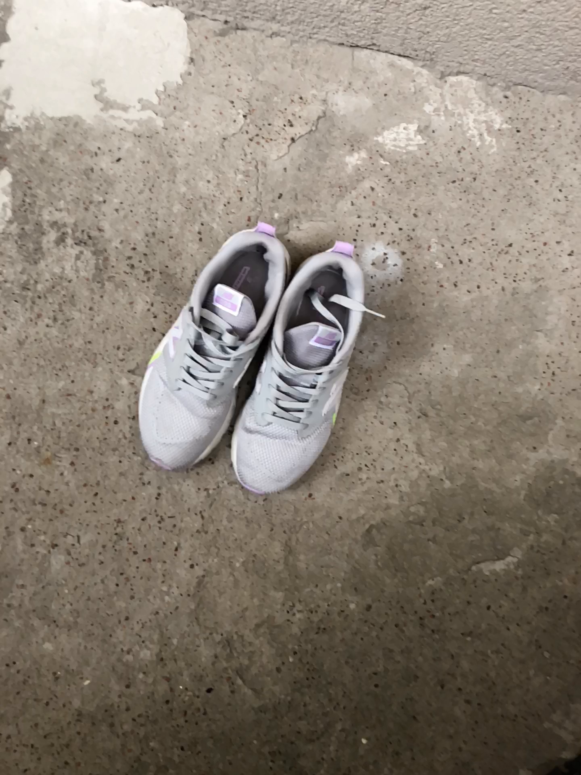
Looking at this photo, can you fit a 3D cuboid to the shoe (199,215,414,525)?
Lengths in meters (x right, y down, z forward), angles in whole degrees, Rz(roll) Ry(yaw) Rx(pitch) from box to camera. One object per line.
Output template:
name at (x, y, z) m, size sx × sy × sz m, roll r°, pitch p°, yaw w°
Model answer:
shoe at (0.014, -0.016, 0.646) m, size 0.110 × 0.100 × 0.270 m, roll 22°, pitch 87°, yaw -2°

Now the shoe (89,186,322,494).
shoe at (-0.080, -0.044, 0.648) m, size 0.110 × 0.100 × 0.270 m, roll 26°, pitch 87°, yaw -1°
